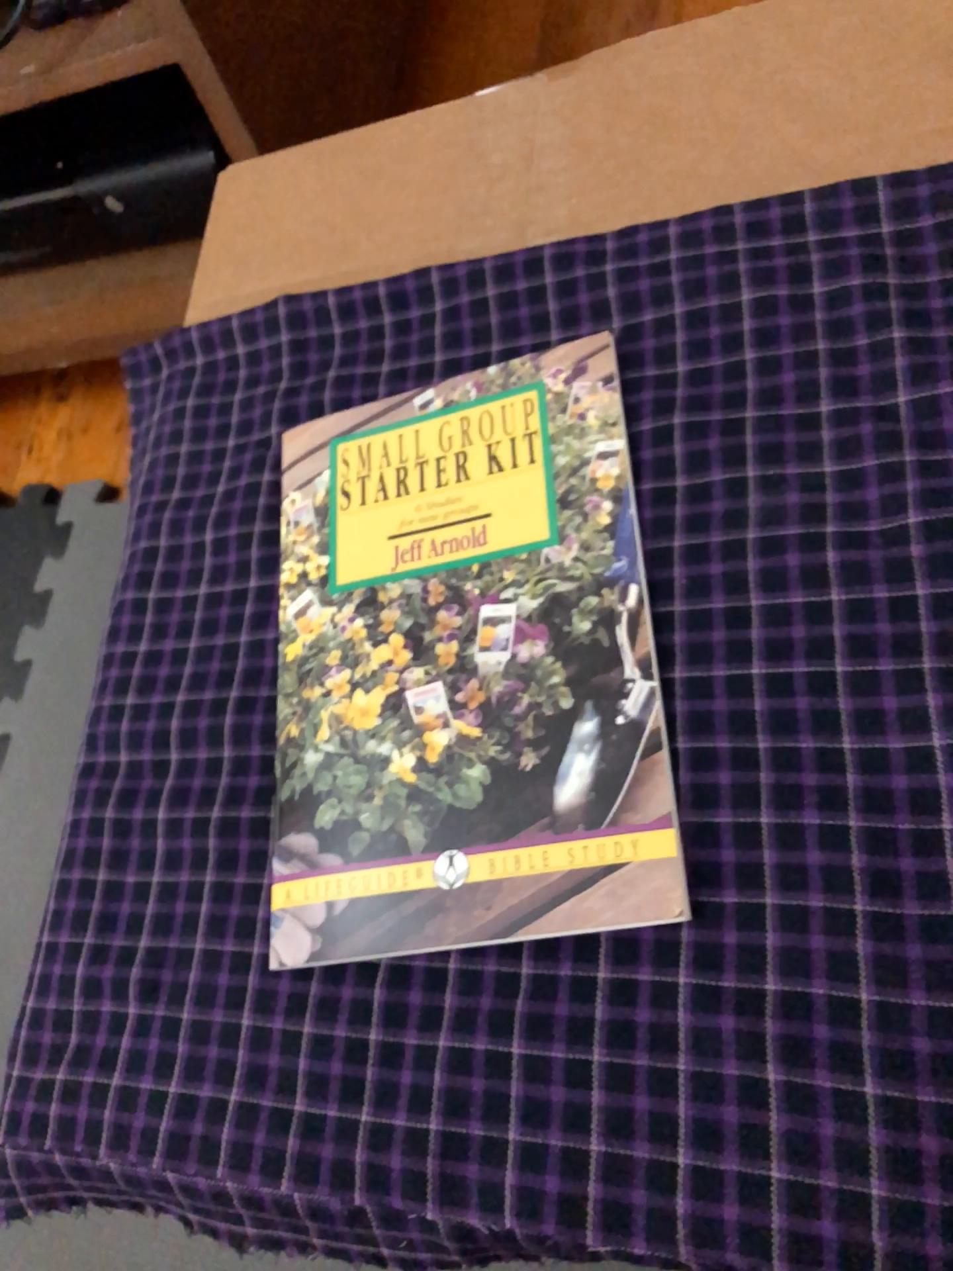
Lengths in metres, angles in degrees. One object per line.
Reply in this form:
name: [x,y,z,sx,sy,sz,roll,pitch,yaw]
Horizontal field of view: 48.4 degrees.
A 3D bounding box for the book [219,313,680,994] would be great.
book: [-0.019,0.002,0.367,0.150,0.010,0.221,-13,64,20]
